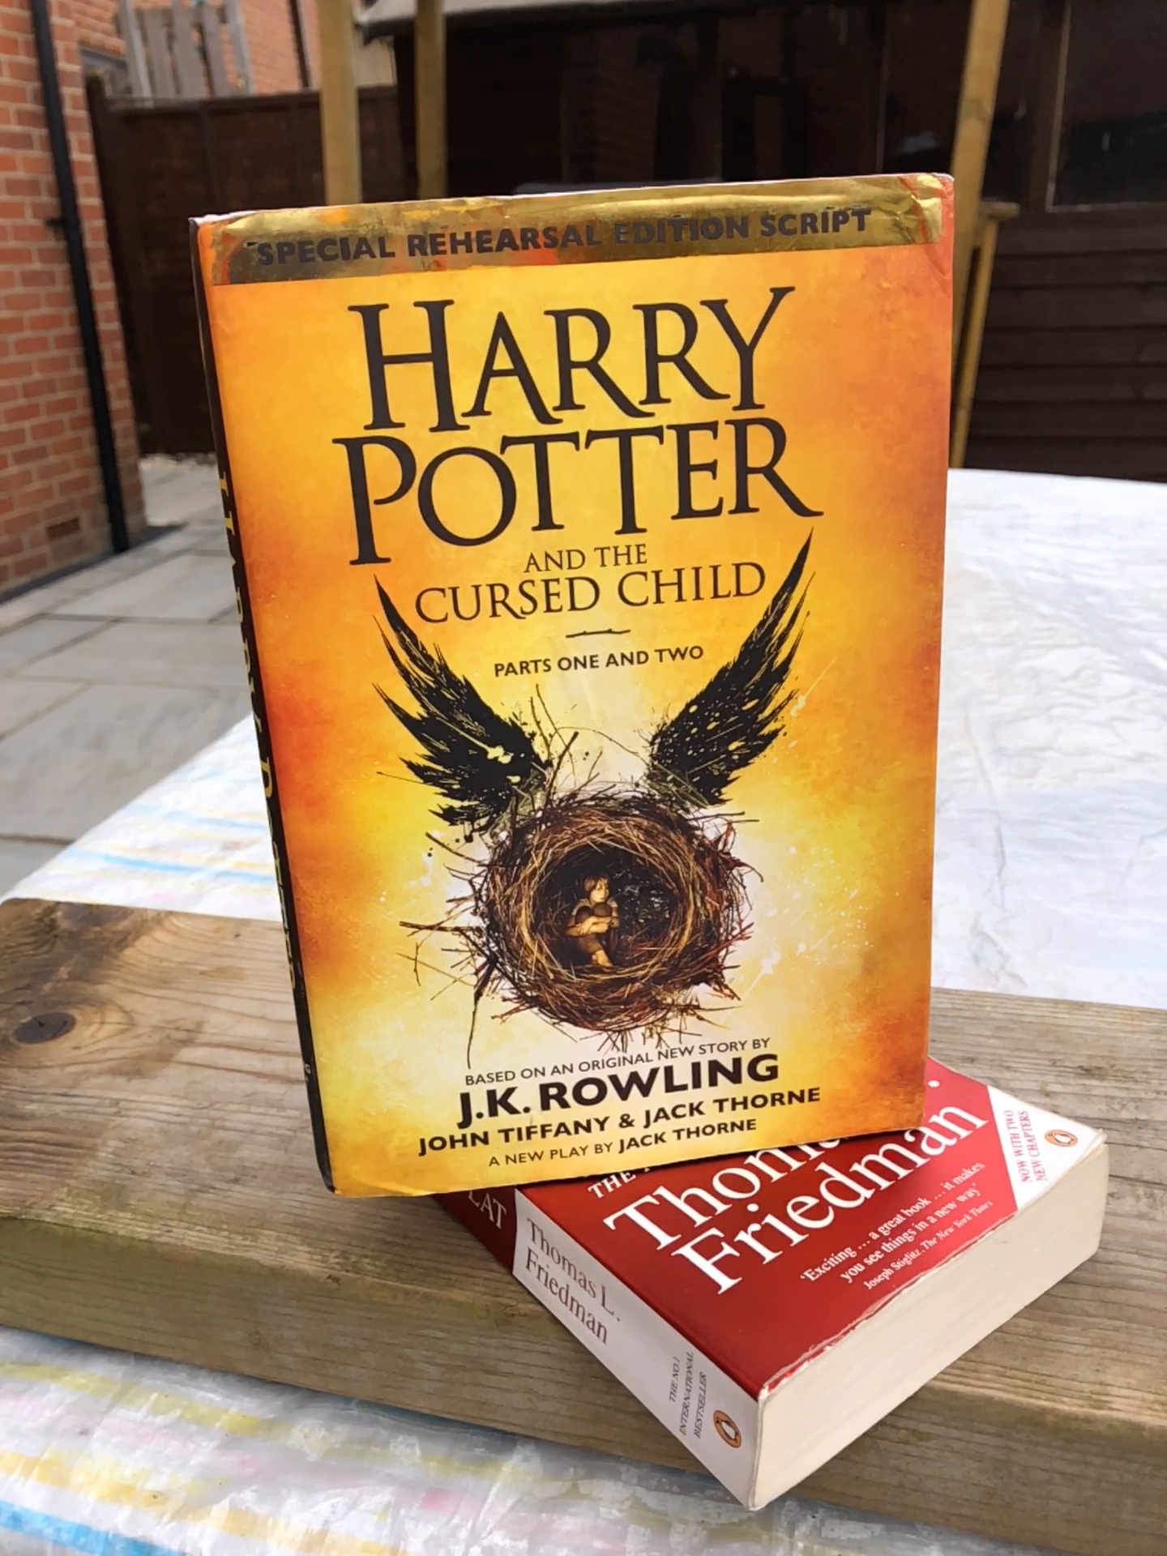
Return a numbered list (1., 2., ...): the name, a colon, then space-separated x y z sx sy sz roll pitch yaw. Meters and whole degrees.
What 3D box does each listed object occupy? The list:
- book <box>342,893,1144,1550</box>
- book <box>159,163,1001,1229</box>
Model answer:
1. book: 0.034 0.101 0.371 0.130 0.040 0.191 -16 25 -33
2. book: 0.003 -0.014 0.313 0.170 0.239 0.040 -3 17 -5
